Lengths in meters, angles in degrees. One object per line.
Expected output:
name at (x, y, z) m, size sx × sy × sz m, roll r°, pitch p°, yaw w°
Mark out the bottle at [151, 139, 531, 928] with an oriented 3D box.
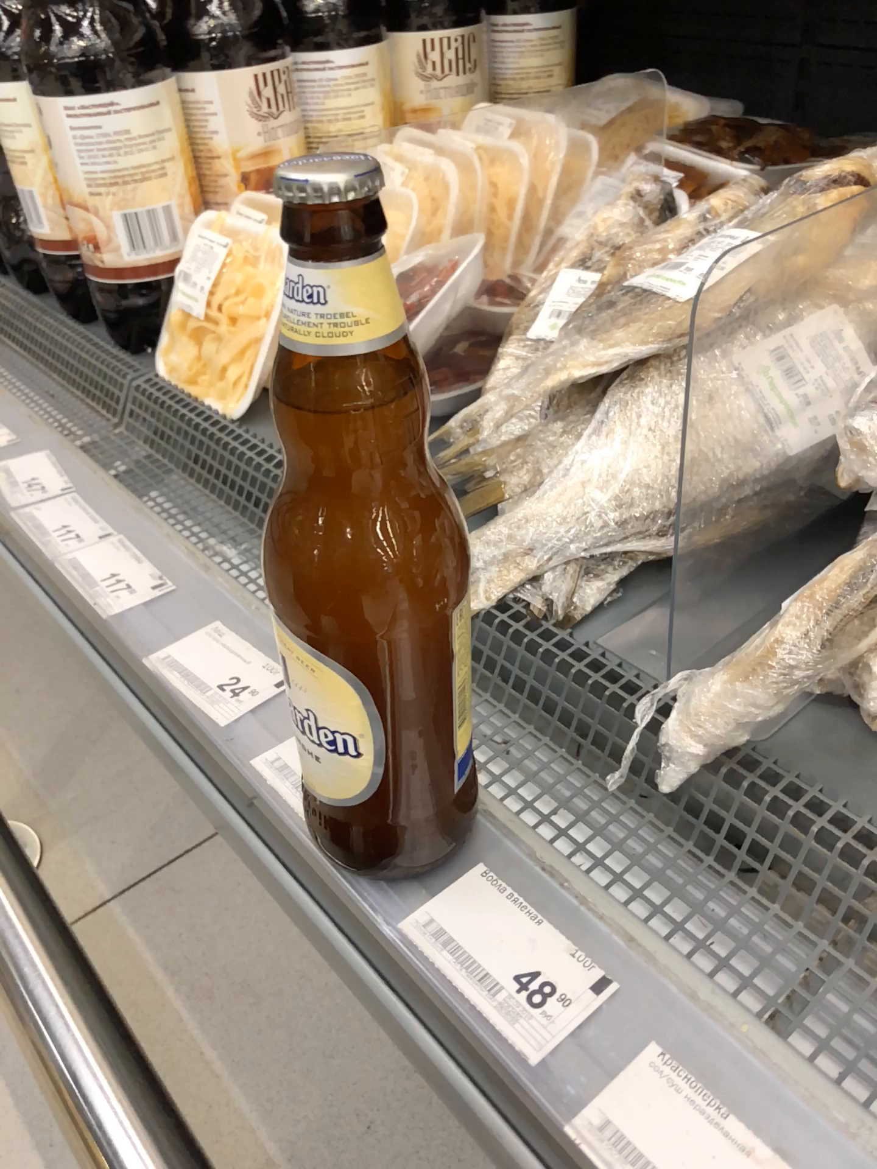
bottle at (-0.020, -0.003, 0.300) m, size 0.070 × 0.229 × 0.070 m, roll -3°, pitch 36°, yaw 2°
